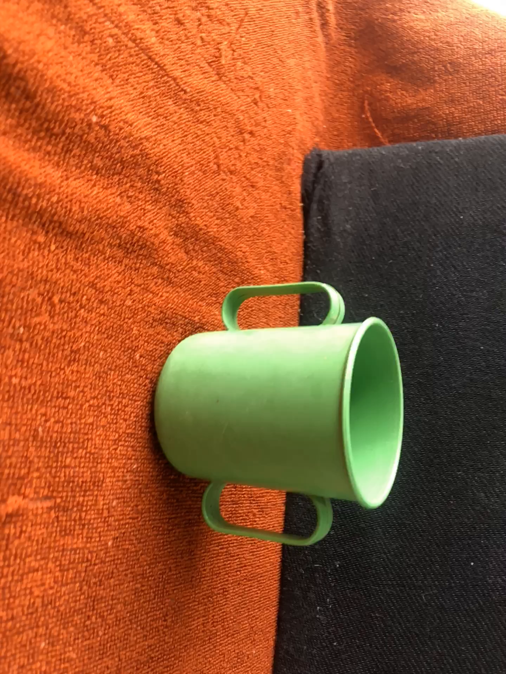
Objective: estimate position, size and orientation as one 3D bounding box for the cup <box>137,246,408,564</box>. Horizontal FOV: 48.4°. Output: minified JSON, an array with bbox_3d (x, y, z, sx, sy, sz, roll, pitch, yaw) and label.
[{"bbox_3d":[0.013,0.025,0.232,0.081,0.079,0.100,13,78,-61],"label":"cup"}]
